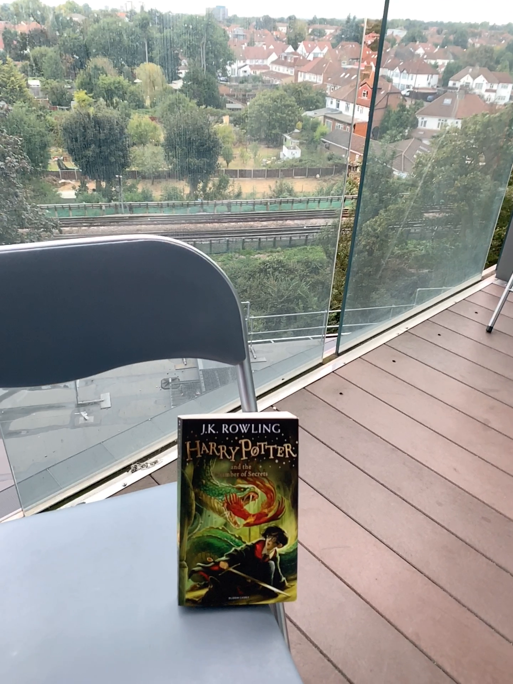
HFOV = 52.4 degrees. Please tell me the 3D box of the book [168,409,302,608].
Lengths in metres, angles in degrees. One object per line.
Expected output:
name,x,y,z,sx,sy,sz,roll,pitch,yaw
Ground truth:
book,-0.024,0.179,0.576,0.140,0.200,0.040,-1,1,-5
